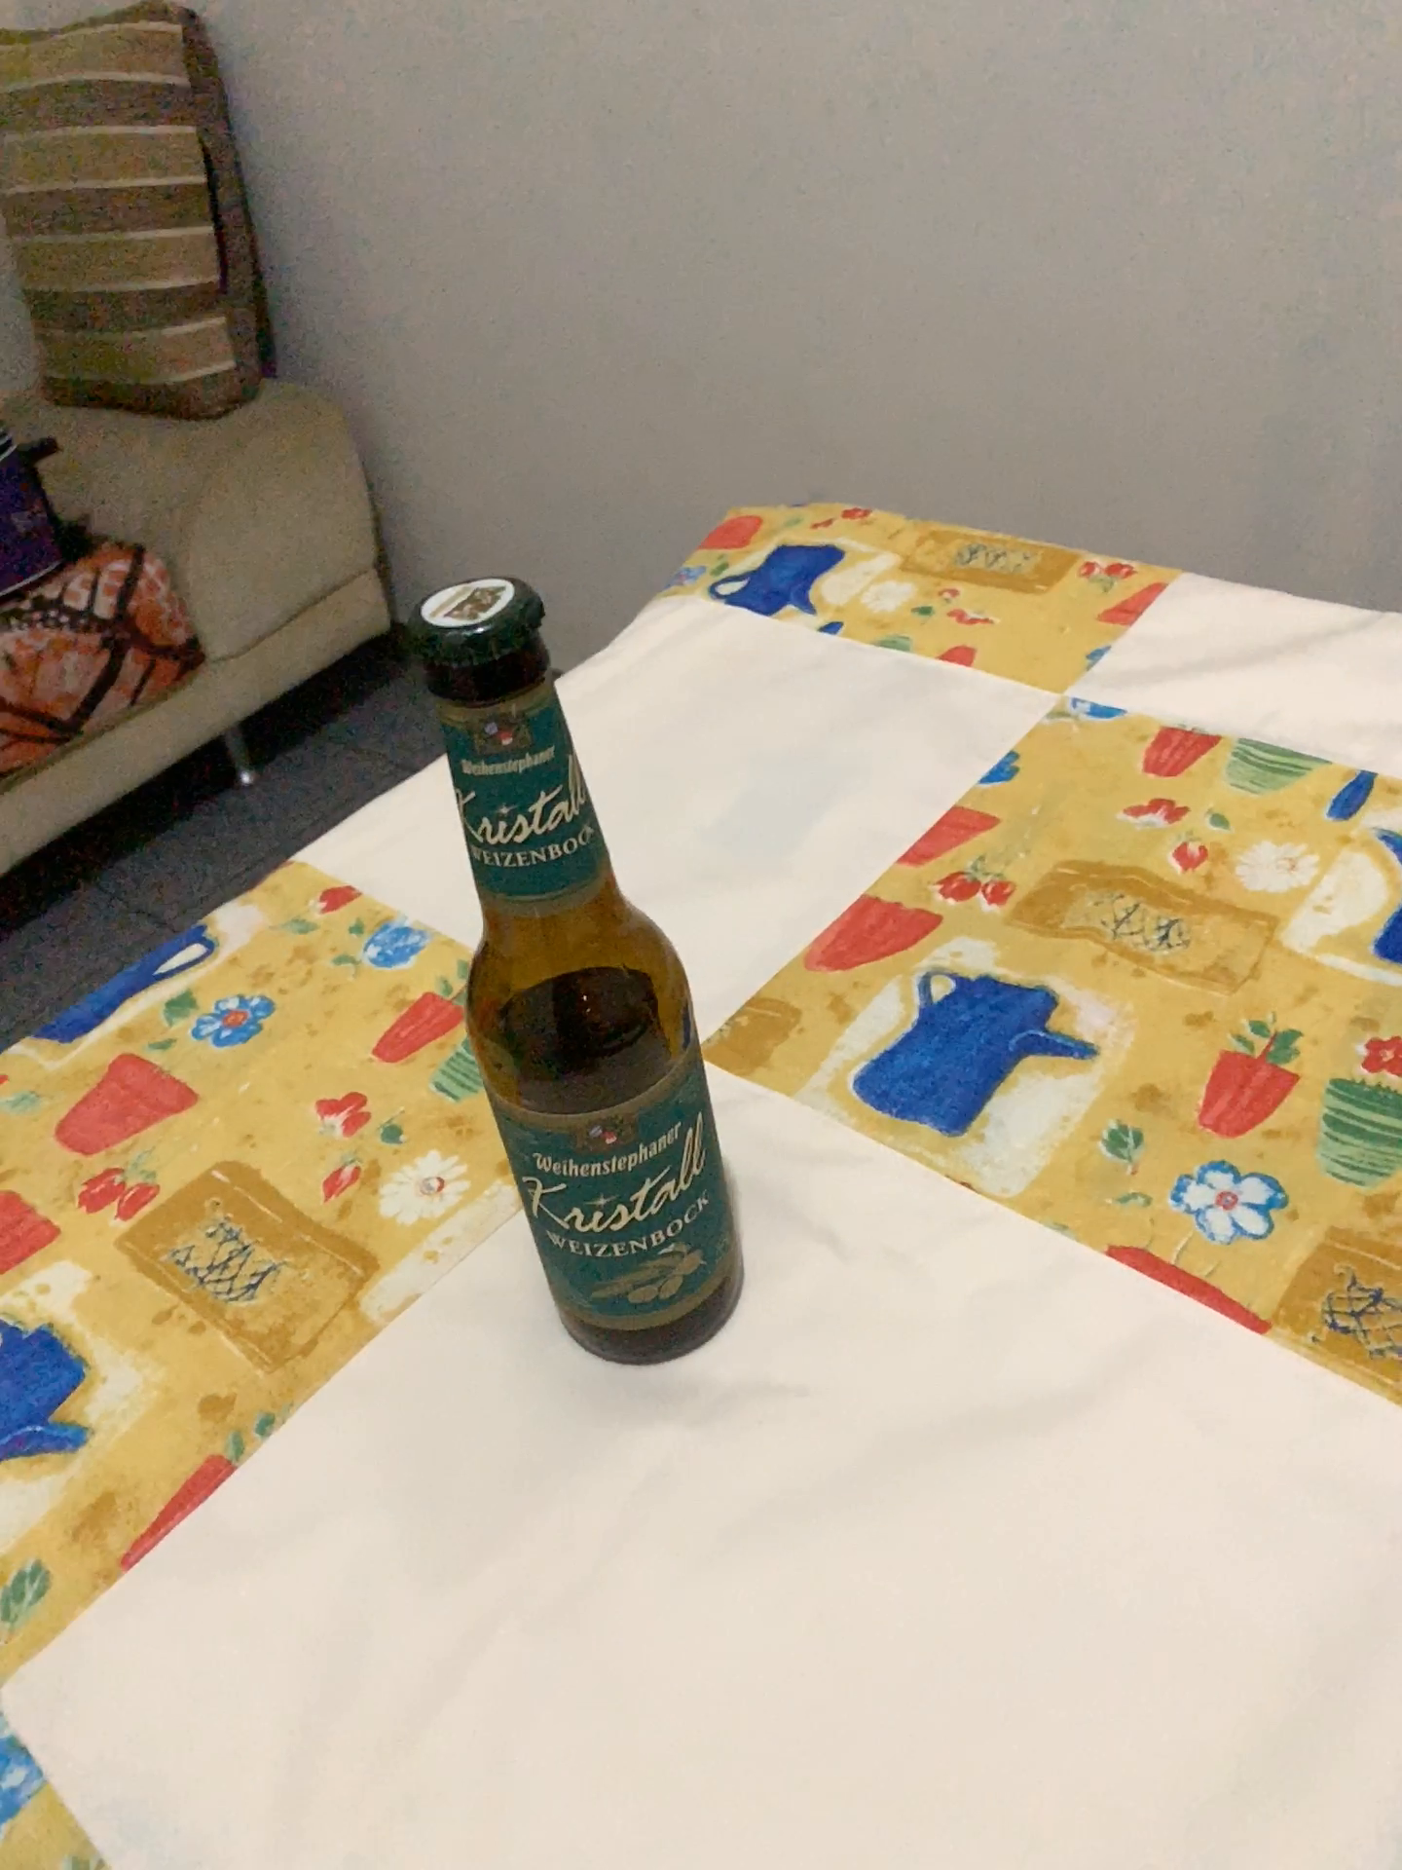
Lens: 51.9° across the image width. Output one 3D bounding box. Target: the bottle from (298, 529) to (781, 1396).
[{"bbox_3d":[-0.030,0.022,0.371,0.070,0.229,0.060,-10,39,1],"label":"bottle"}]
